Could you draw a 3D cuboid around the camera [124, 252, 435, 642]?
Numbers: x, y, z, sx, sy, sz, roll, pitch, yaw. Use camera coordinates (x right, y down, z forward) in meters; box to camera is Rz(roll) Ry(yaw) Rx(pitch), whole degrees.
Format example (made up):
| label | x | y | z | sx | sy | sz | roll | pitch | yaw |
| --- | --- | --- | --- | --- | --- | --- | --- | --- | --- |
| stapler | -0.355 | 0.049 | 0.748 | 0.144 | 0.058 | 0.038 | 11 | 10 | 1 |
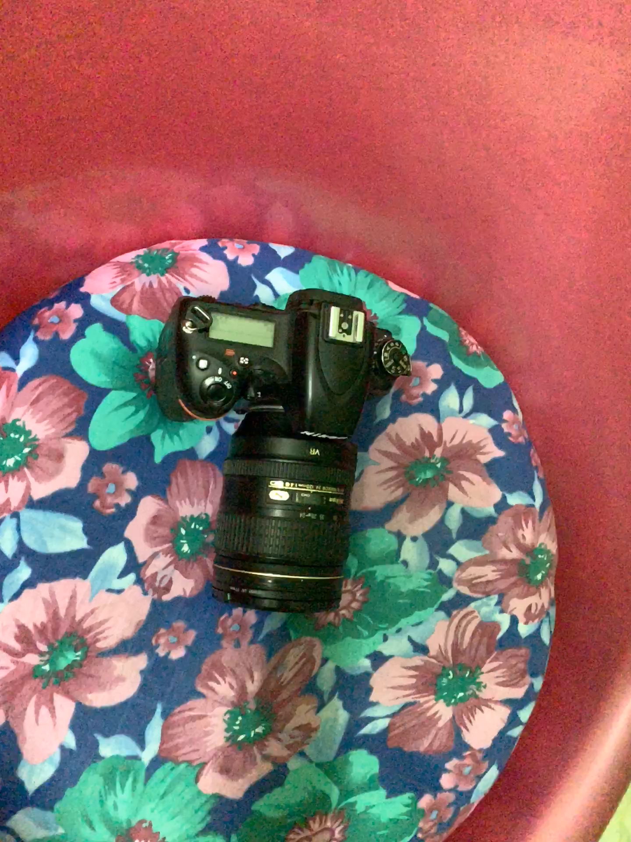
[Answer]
| label | x | y | z | sx | sy | sz | roll | pitch | yaw |
| --- | --- | --- | --- | --- | --- | --- | --- | --- | --- |
| camera | -0.024 | 0.022 | 0.373 | 0.140 | 0.111 | 0.179 | 8 | 80 | -17 |
